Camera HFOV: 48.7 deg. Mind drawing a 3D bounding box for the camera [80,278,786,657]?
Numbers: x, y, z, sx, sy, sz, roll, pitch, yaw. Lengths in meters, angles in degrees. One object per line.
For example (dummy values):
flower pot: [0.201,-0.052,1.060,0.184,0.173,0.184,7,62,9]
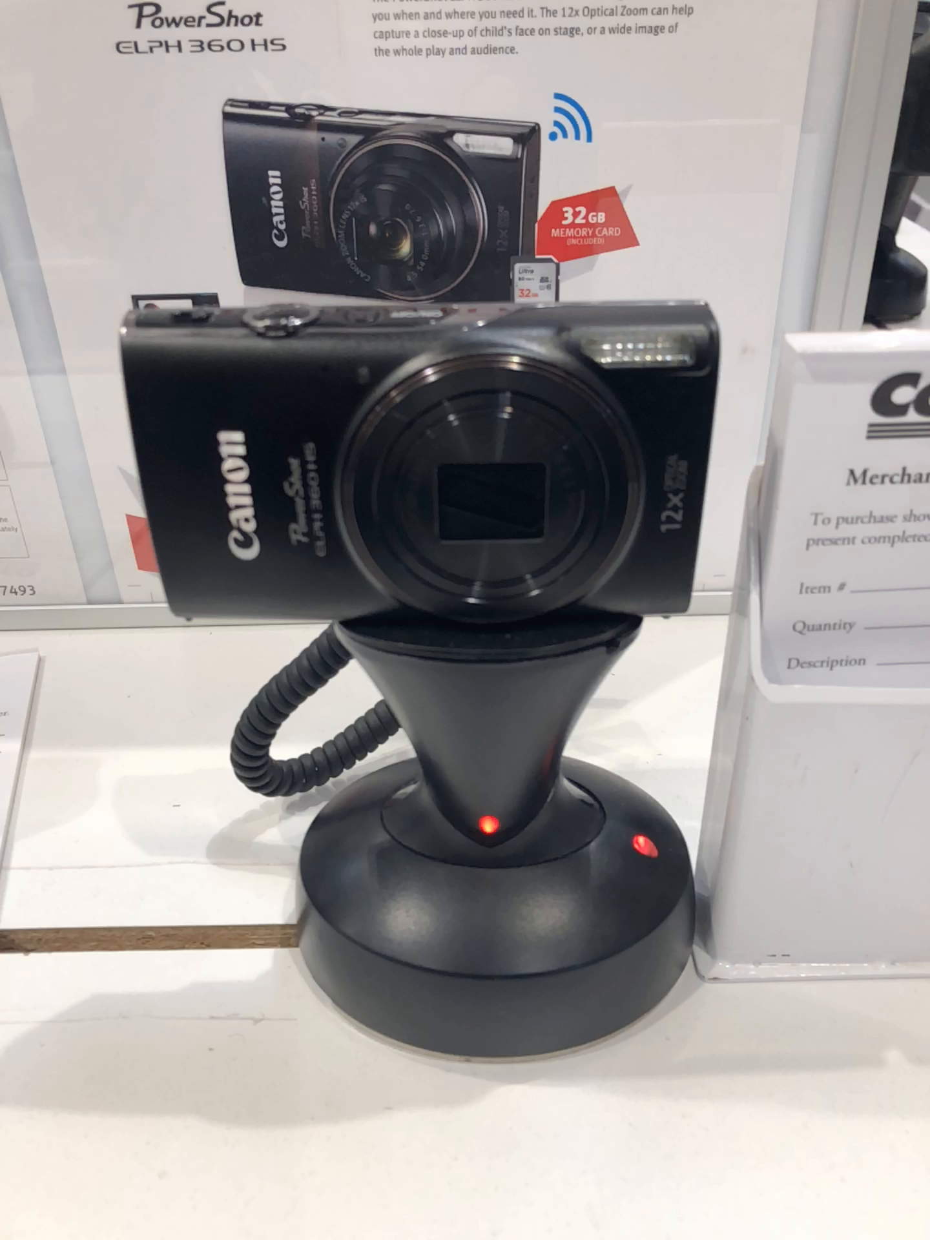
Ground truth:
camera: [-0.005,-0.027,0.188,0.110,0.060,0.030,-1,32,1]
